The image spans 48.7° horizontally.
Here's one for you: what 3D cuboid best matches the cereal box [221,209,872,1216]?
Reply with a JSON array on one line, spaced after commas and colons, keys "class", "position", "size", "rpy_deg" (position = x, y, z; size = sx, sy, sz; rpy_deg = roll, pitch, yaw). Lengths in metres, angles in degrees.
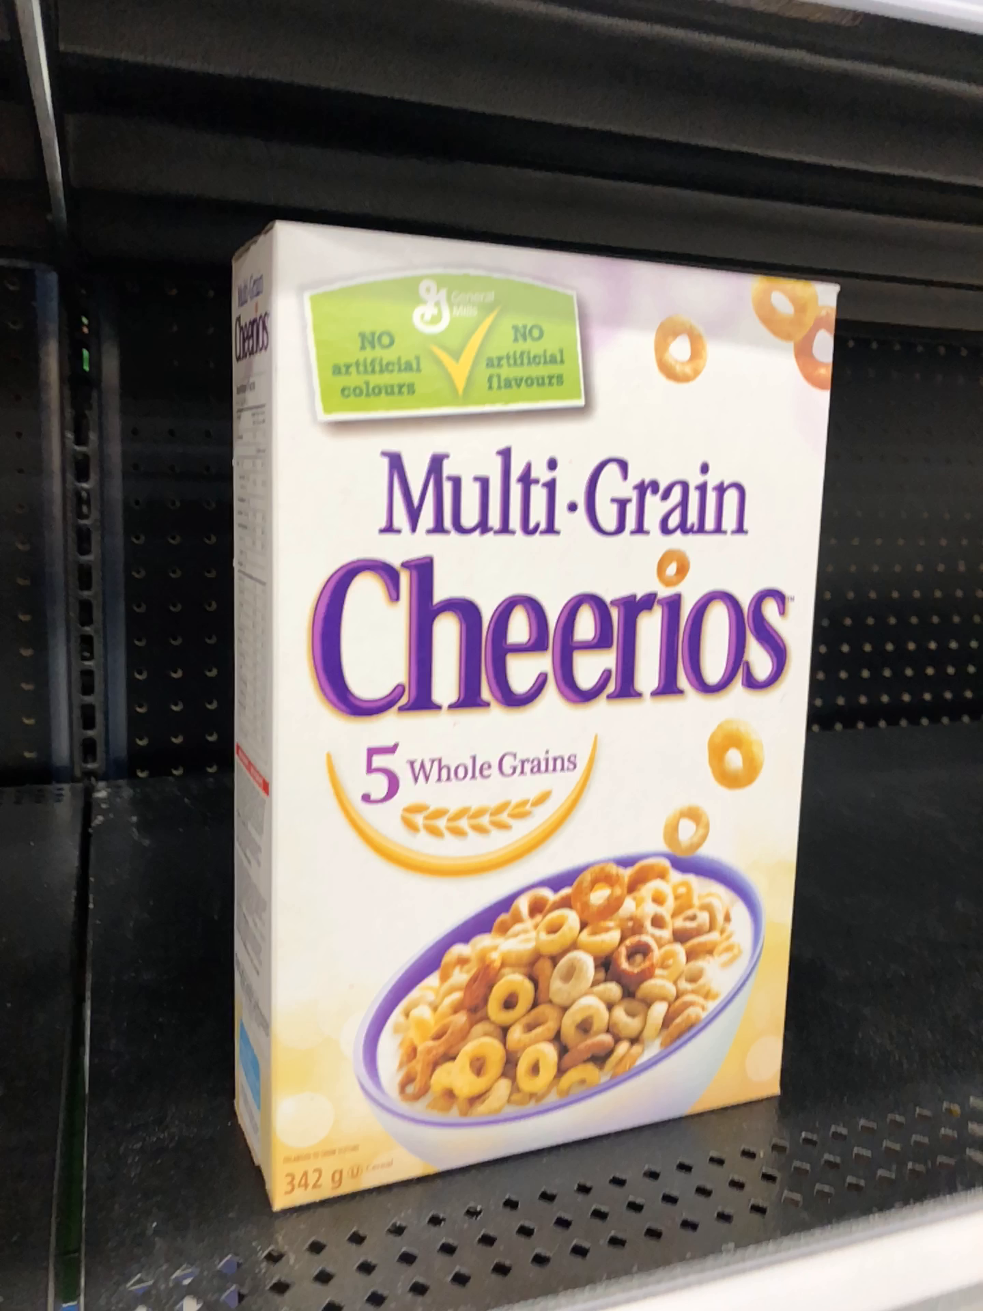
[{"class": "cereal box", "position": [0.016, 0.016, 0.374], "size": [0.200, 0.289, 0.070], "rpy_deg": [-2, 10, -22]}]
